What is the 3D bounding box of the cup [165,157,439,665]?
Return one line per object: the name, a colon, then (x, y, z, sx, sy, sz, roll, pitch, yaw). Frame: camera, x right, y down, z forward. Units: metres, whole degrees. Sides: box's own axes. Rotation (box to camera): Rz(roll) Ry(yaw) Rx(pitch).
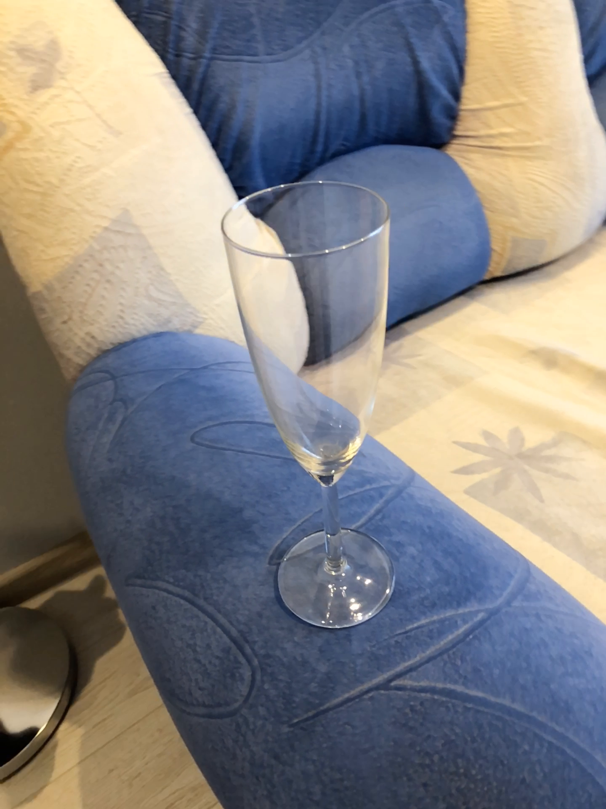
cup: (0.008, 0.012, 0.308, 0.072, 0.214, 0.077, -5, 37, 4)
